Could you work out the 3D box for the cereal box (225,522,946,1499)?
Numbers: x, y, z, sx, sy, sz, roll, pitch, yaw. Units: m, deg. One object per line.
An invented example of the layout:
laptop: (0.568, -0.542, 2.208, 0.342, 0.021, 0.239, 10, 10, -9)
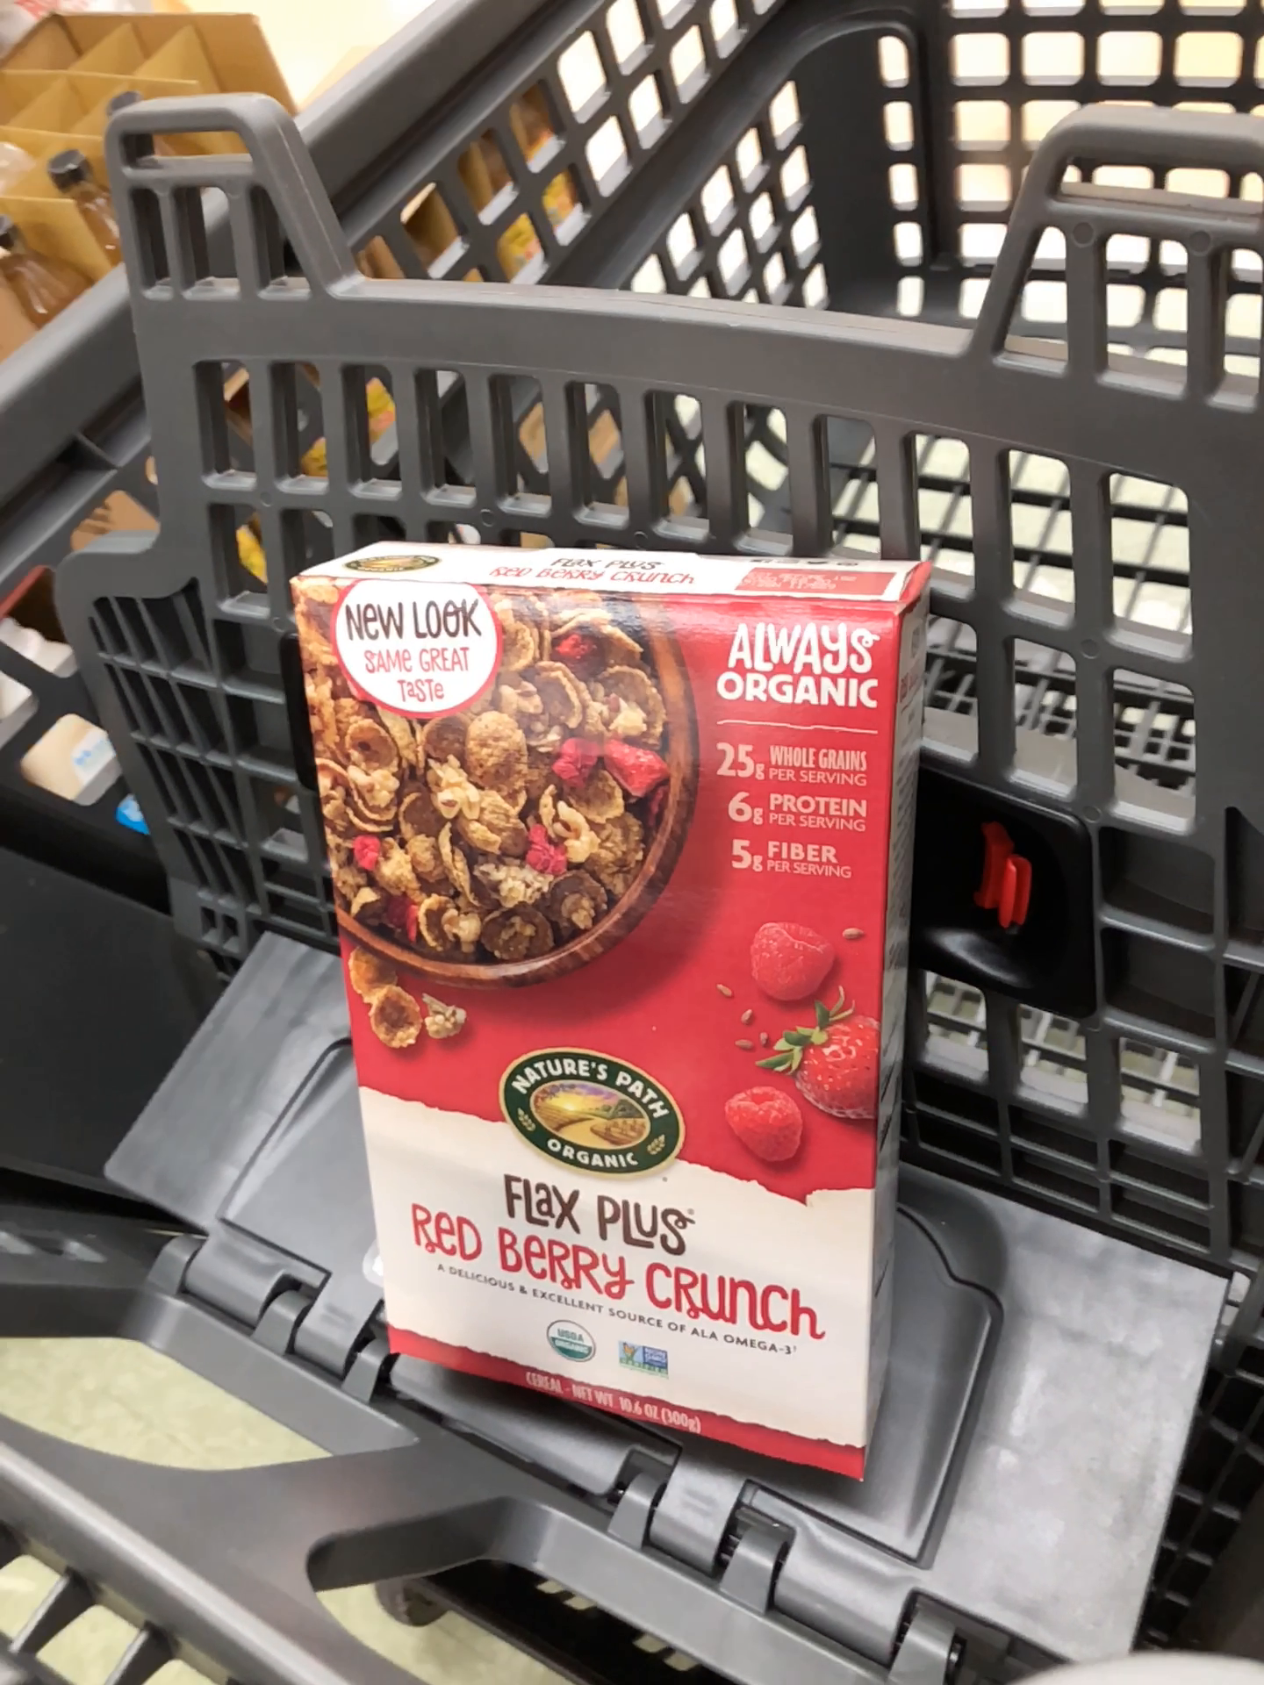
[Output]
cereal box: (-0.008, 0.042, 0.400, 0.170, 0.250, 0.070, 6, 22, 22)
